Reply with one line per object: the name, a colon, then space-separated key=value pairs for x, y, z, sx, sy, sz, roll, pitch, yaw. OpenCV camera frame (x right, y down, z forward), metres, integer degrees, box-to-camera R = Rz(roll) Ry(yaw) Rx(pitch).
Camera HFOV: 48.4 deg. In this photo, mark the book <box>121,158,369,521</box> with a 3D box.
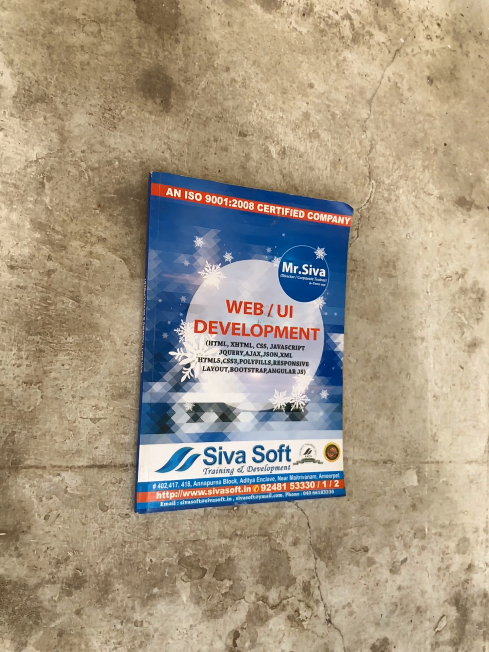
book: x=0.009 y=0.015 z=0.473 sx=0.211 sy=0.030 sz=0.280 roll=4 pitch=86 yaw=-23
